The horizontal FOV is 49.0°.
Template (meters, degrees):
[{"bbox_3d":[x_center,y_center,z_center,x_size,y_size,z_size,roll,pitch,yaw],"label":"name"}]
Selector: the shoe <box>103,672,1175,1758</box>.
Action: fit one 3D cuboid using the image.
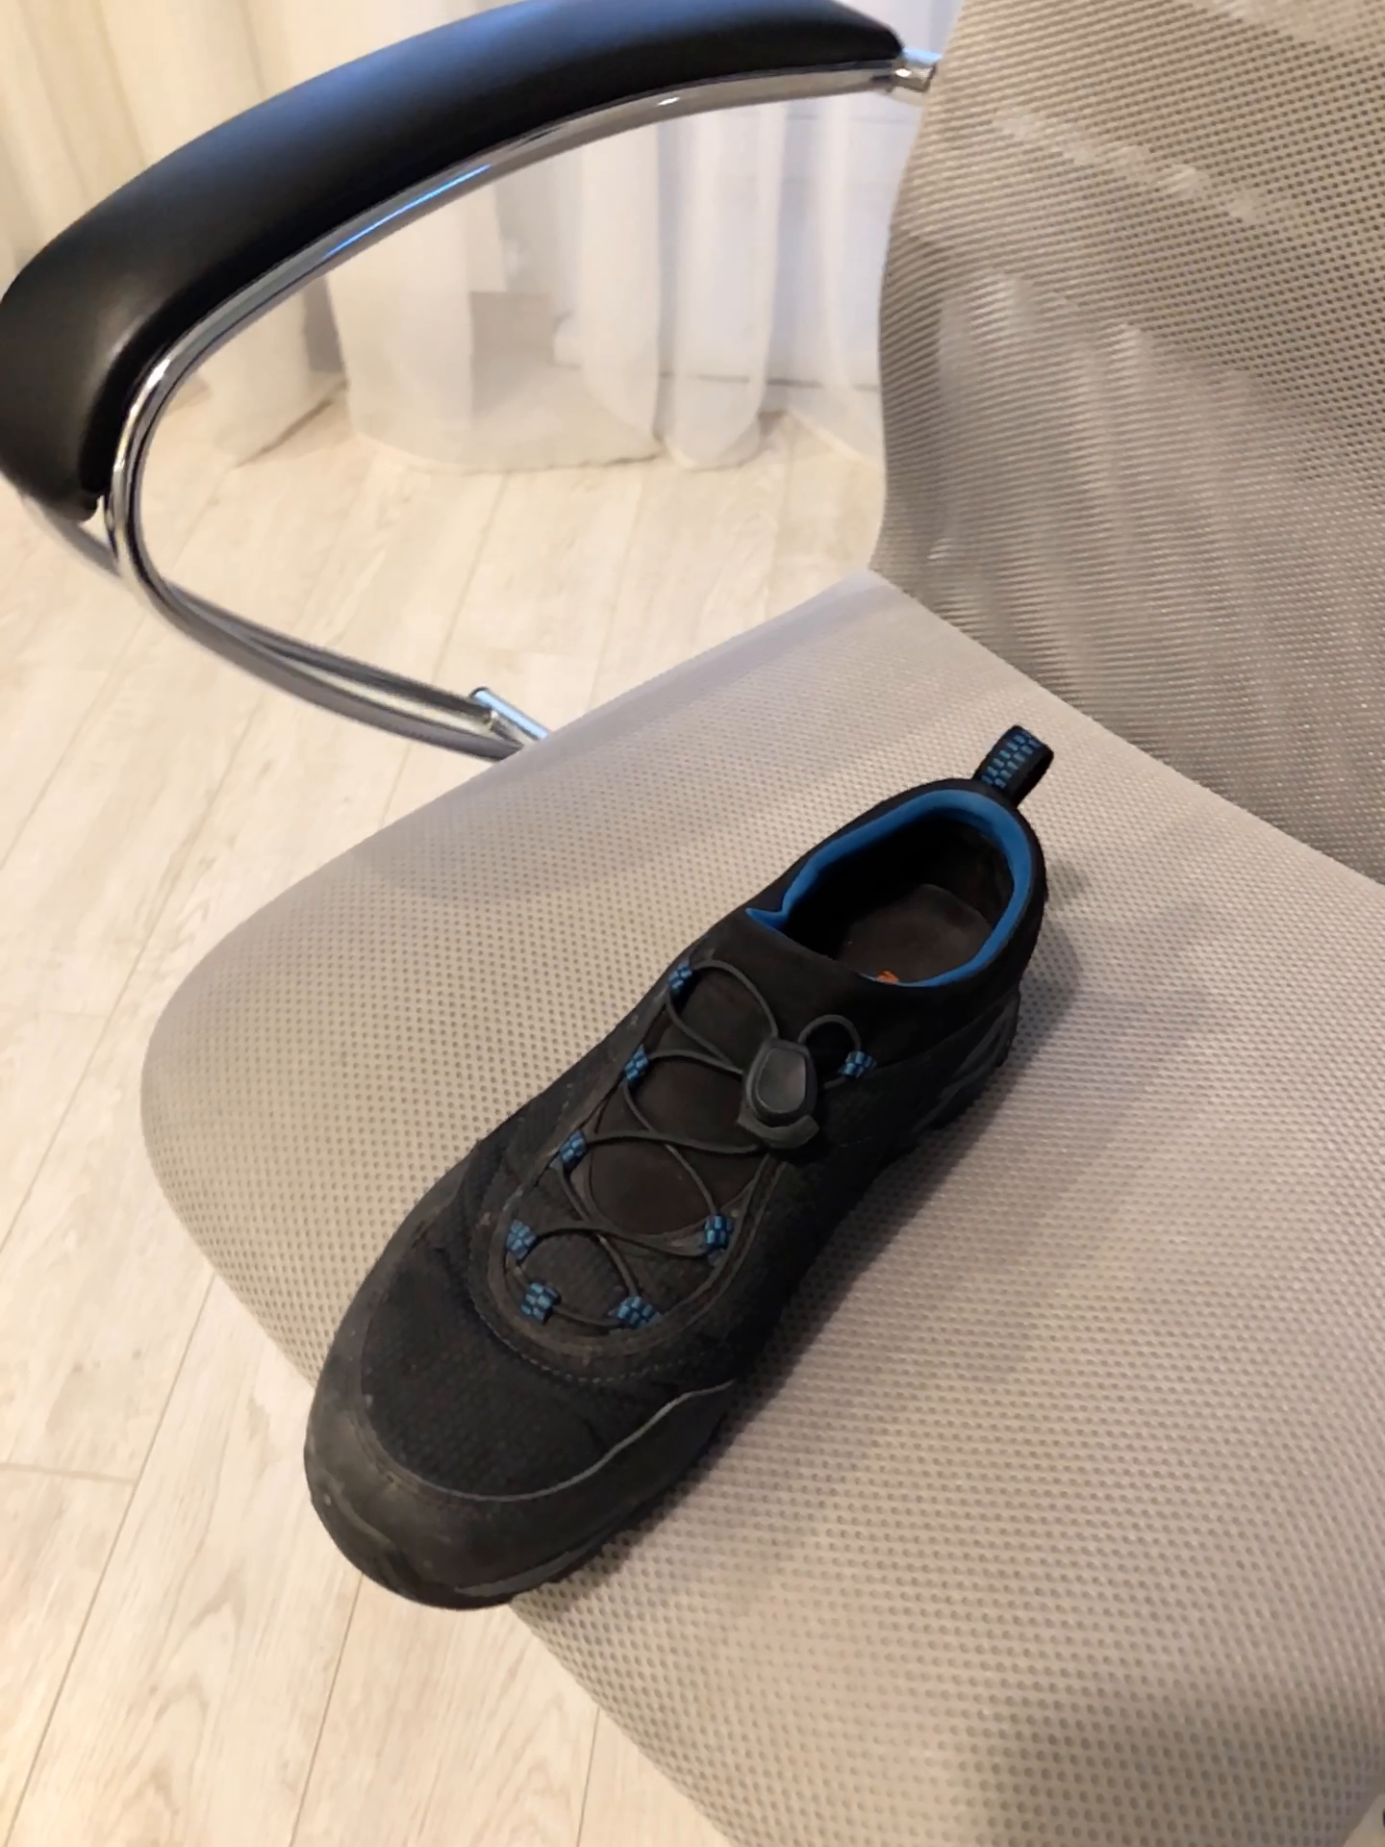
[{"bbox_3d":[0.002,0.067,0.463,0.128,0.109,0.301,33,57,26],"label":"shoe"}]
